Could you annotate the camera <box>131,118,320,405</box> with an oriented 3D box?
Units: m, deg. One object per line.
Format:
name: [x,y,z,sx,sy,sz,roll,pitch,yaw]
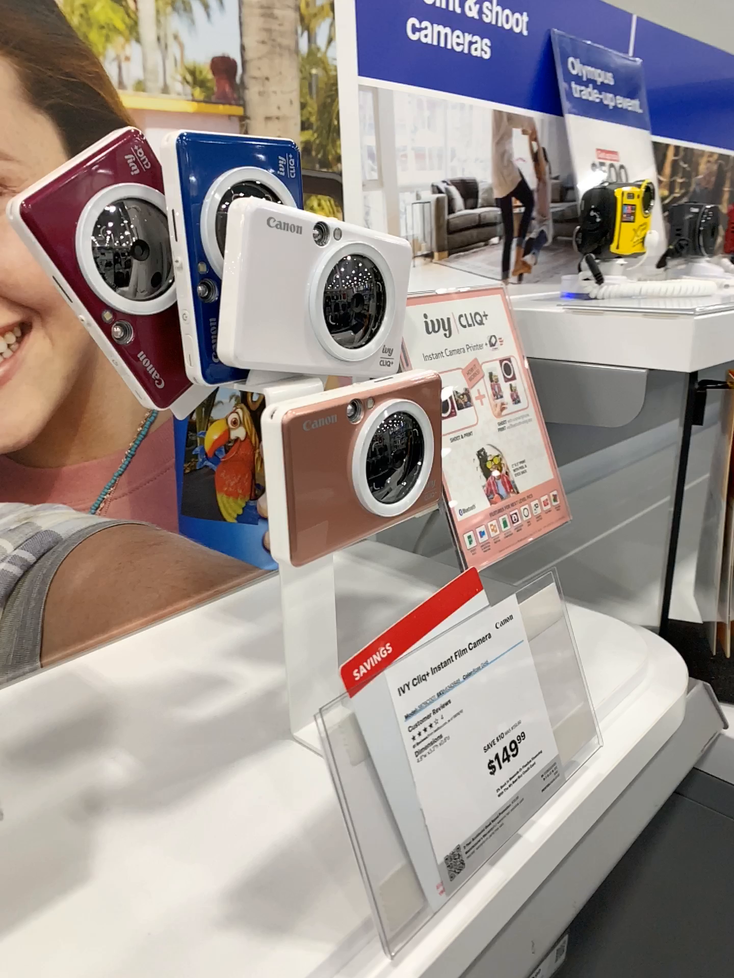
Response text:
camera: [-0.070,-0.116,0.392,0.080,0.129,0.030,-16,22,-37]

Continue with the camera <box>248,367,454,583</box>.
camera: [-0.002,-0.013,0.385,0.030,0.080,0.120,12,22,39]

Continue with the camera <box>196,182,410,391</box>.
camera: [-0.030,-0.101,0.403,0.030,0.090,0.120,12,11,39]

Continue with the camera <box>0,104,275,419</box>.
camera: [-0.110,-0.107,0.370,0.080,0.119,0.030,-46,37,-22]
